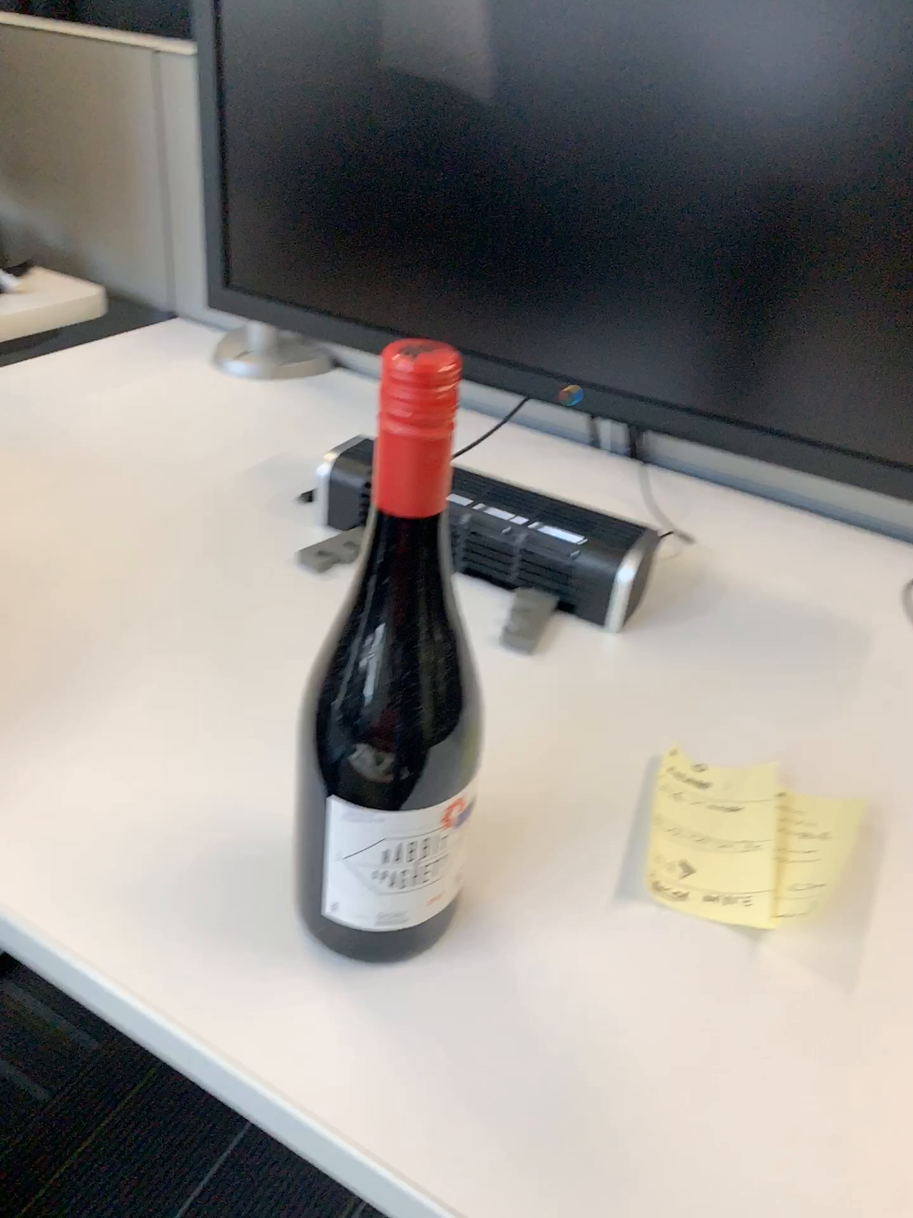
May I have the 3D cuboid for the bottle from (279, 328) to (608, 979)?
[{"bbox_3d":[-0.024,0.026,0.424,0.097,0.270,0.111,-4,34,-17],"label":"bottle"}]
